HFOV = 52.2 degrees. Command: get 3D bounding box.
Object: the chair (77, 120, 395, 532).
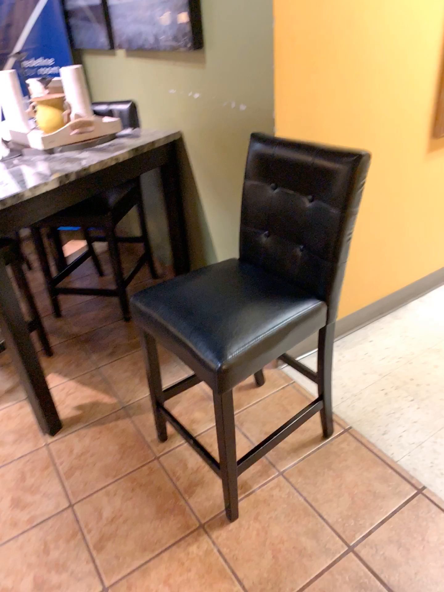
[{"bbox_3d":[0.065,0.053,1.371,0.619,0.961,0.500,-25,36,-30],"label":"chair"}]
